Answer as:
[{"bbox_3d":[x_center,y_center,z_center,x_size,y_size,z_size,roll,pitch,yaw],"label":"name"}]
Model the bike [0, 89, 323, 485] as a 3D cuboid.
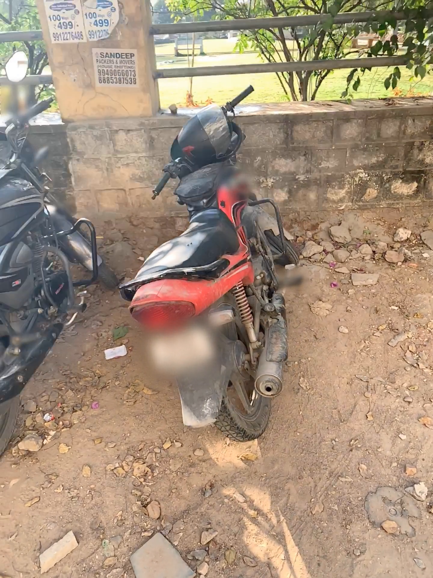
[{"bbox_3d":[-0.139,-0.190,2.102,1.063,1.246,1.603,1,29,8],"label":"bike"}]
